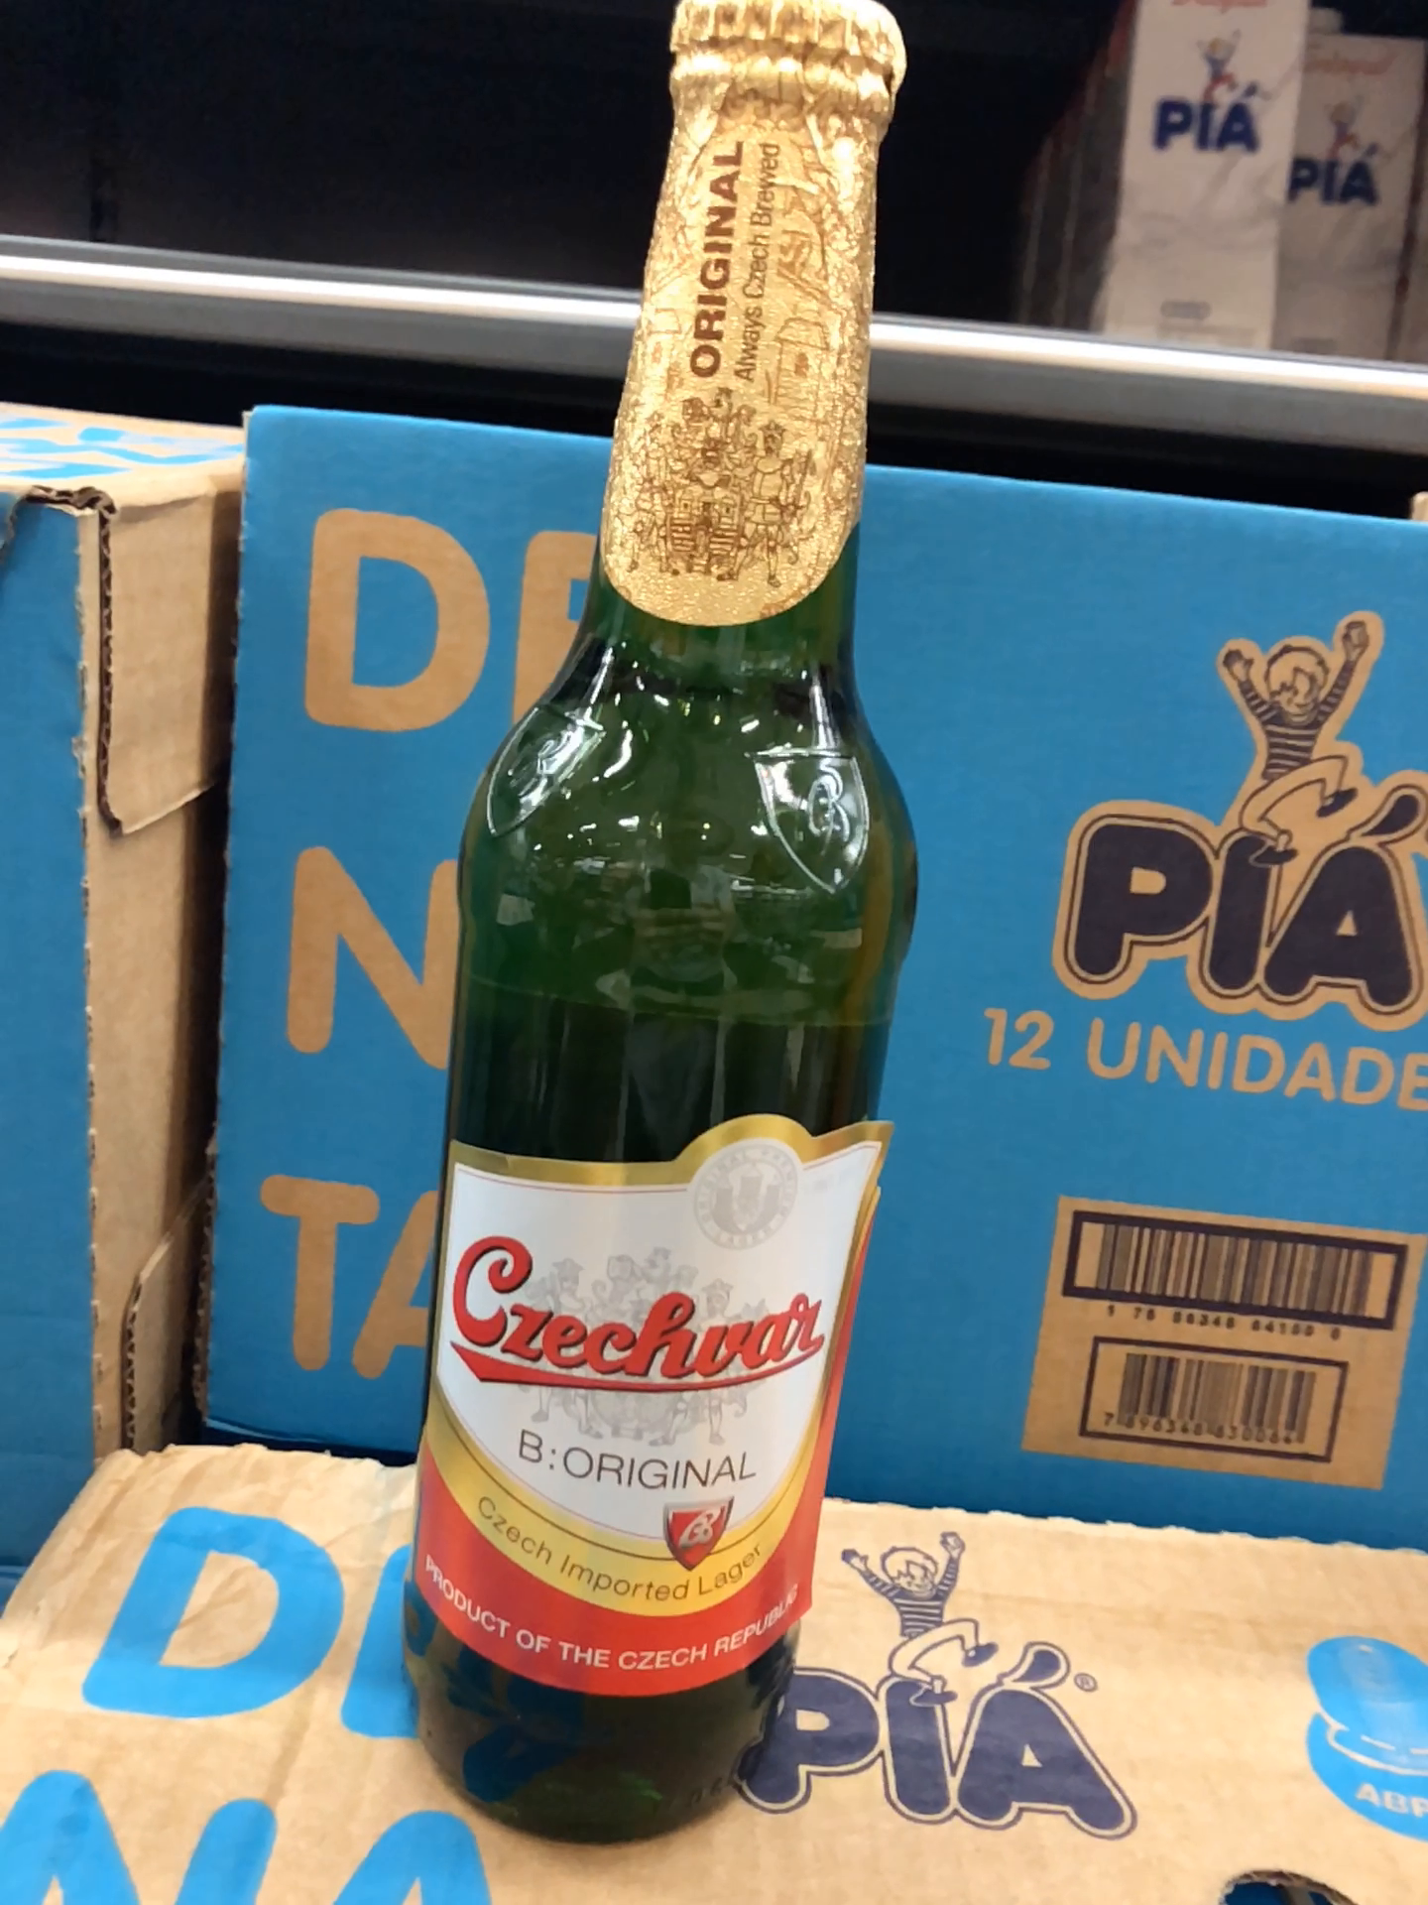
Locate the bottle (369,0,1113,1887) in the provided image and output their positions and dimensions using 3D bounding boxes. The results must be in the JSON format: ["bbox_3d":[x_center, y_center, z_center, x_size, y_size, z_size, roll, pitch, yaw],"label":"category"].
[{"bbox_3d":[-0.006,-0.002,0.238,0.070,0.269,0.070,5,13,-1],"label":"bottle"}]
